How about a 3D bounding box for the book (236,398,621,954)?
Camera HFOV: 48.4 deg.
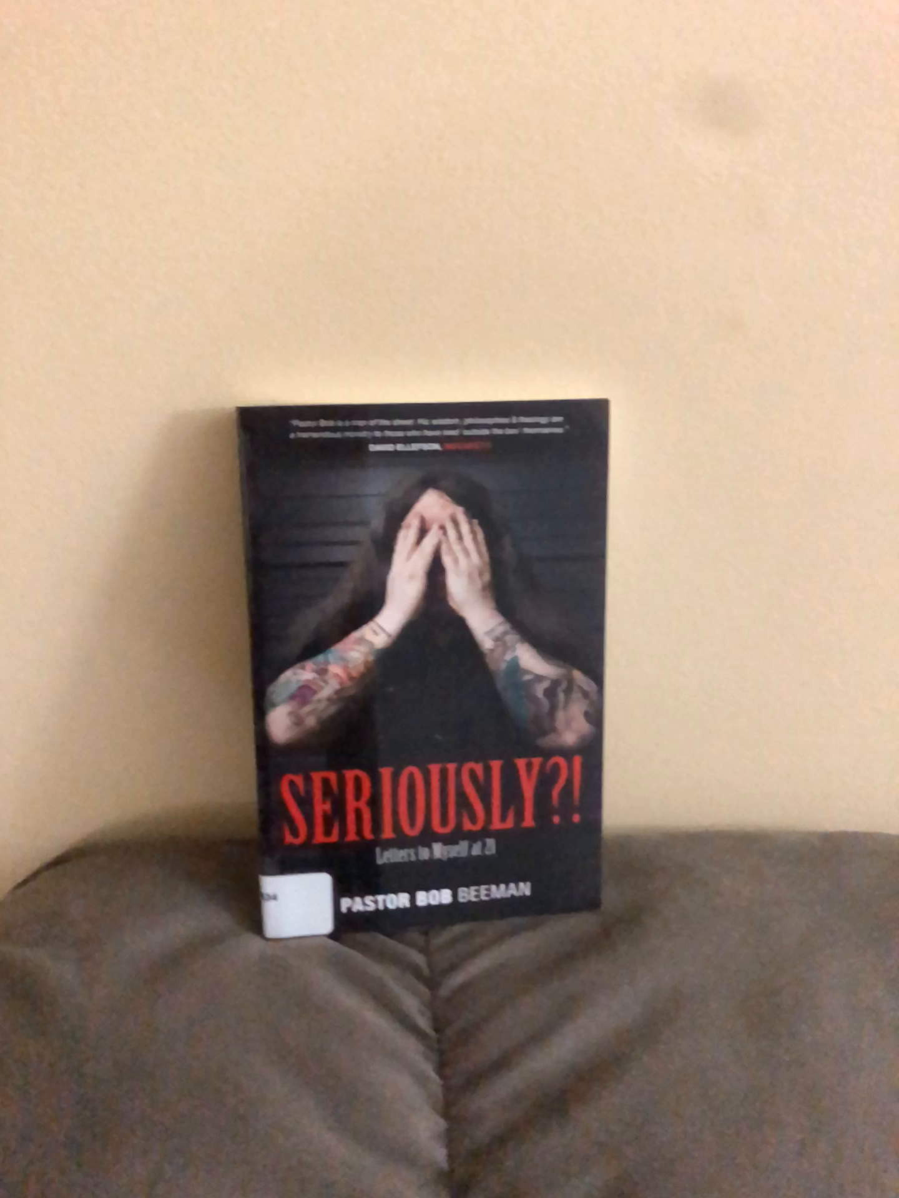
[{"bbox_3d":[-0.005,0.029,0.383,0.136,0.205,0.023,-3,12,-9],"label":"book"}]
